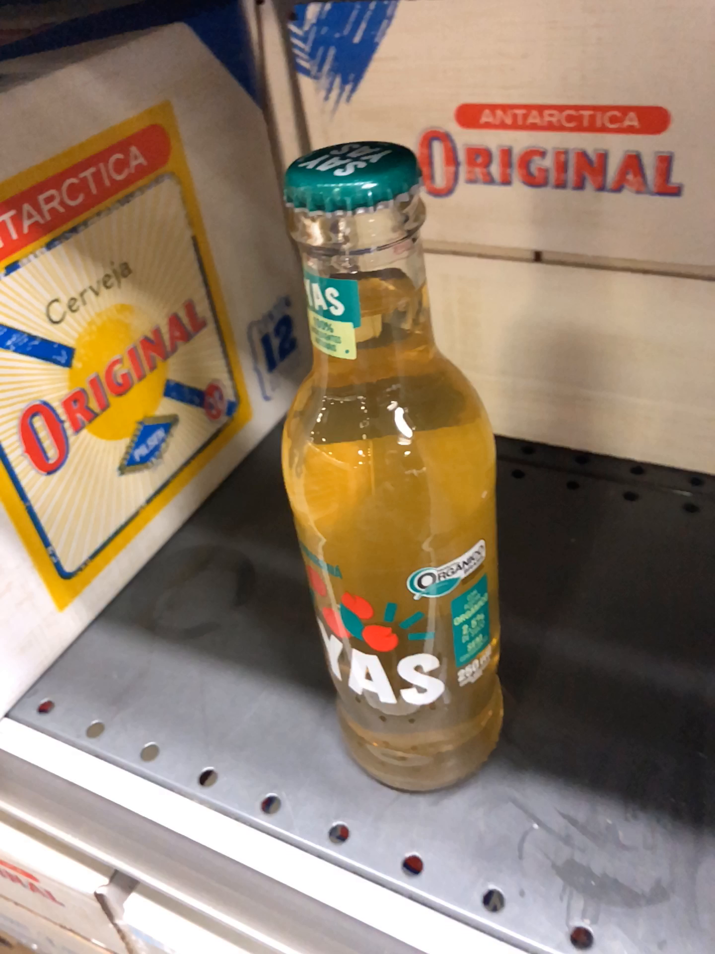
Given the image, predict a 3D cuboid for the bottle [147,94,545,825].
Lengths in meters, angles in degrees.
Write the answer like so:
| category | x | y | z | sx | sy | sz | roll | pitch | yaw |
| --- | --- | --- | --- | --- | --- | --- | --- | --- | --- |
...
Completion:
| category | x | y | z | sx | sy | sz | roll | pitch | yaw |
| --- | --- | --- | --- | --- | --- | --- | --- | --- | --- |
| bottle | 0.013 | 0.010 | 0.222 | 0.060 | 0.198 | 0.060 | -6 | 39 | 5 |
